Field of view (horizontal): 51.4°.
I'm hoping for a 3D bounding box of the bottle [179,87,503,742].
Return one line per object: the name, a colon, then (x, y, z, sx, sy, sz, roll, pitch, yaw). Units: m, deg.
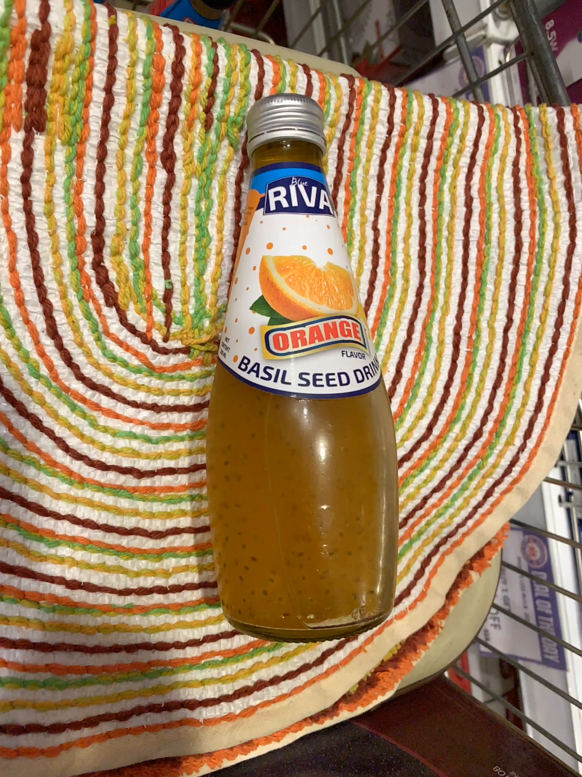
bottle: (0.010, 0.008, 0.182, 0.070, 0.050, 0.160, -2, 101, -27)
